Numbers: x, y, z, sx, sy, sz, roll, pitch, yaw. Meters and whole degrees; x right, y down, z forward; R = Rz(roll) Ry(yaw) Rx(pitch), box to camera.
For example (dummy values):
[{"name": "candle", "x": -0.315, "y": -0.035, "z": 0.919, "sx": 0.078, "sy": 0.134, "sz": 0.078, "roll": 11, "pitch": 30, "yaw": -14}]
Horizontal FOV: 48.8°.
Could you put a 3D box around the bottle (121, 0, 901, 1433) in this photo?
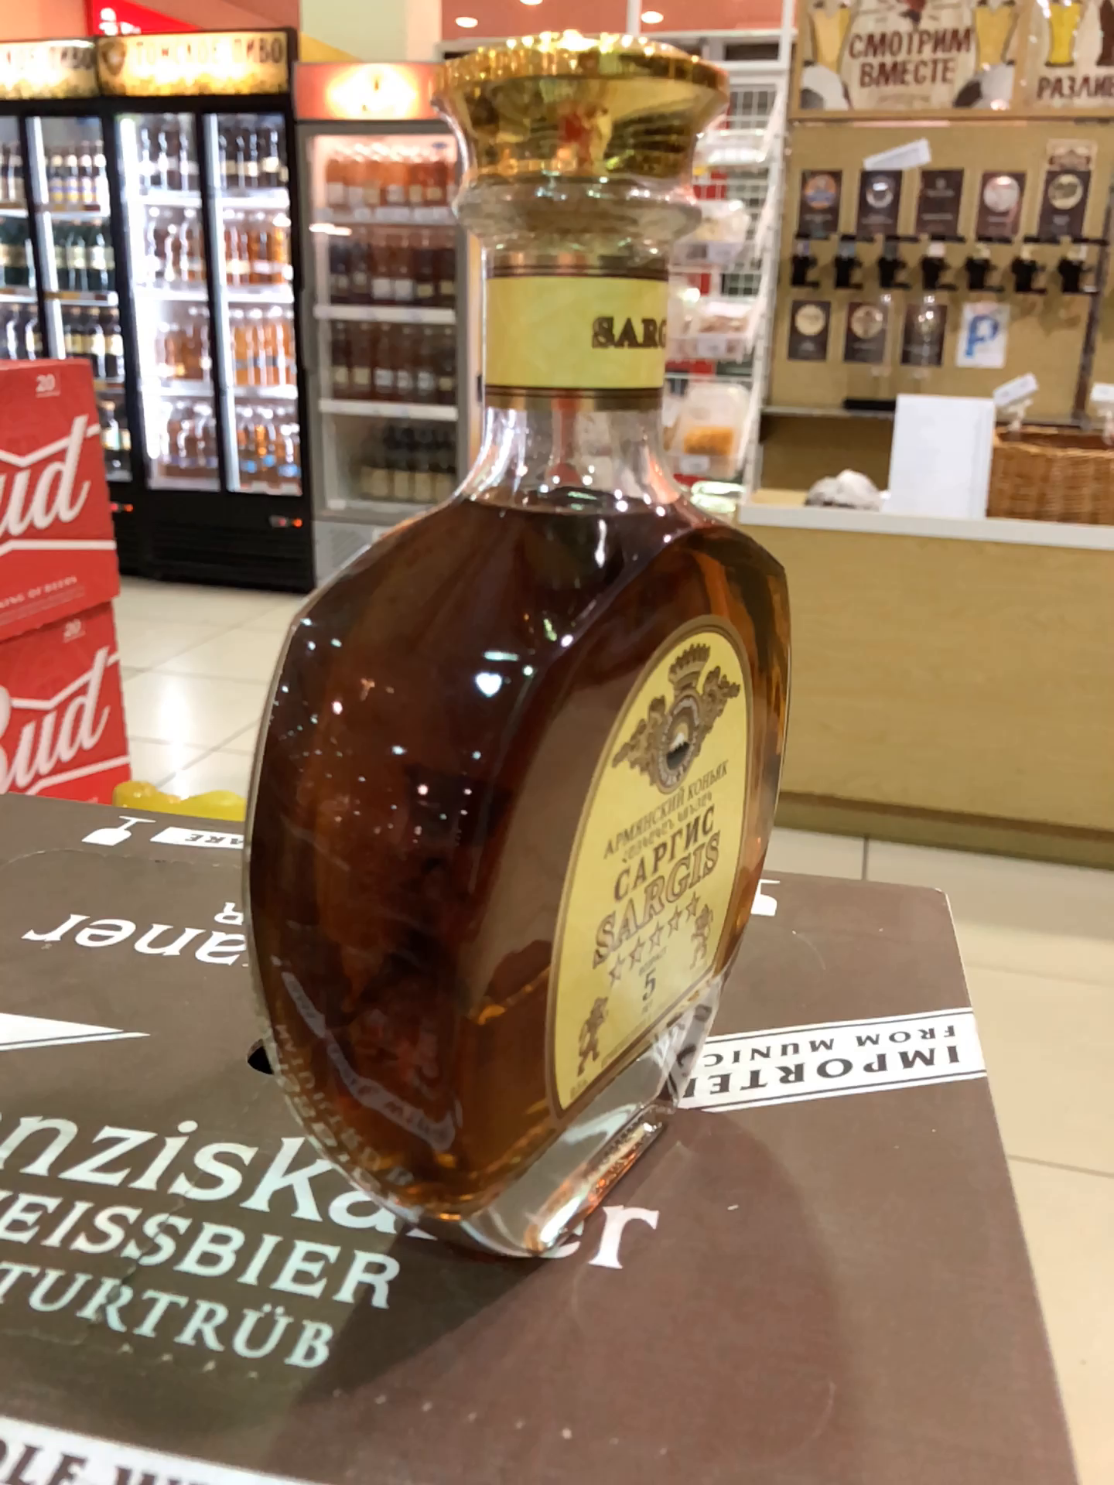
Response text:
[{"name": "bottle", "x": 0.003, "y": -0.011, "z": 0.243, "sx": 0.070, "sy": 0.209, "sz": 0.141, "roll": 12, "pitch": 22, "yaw": 27}]
